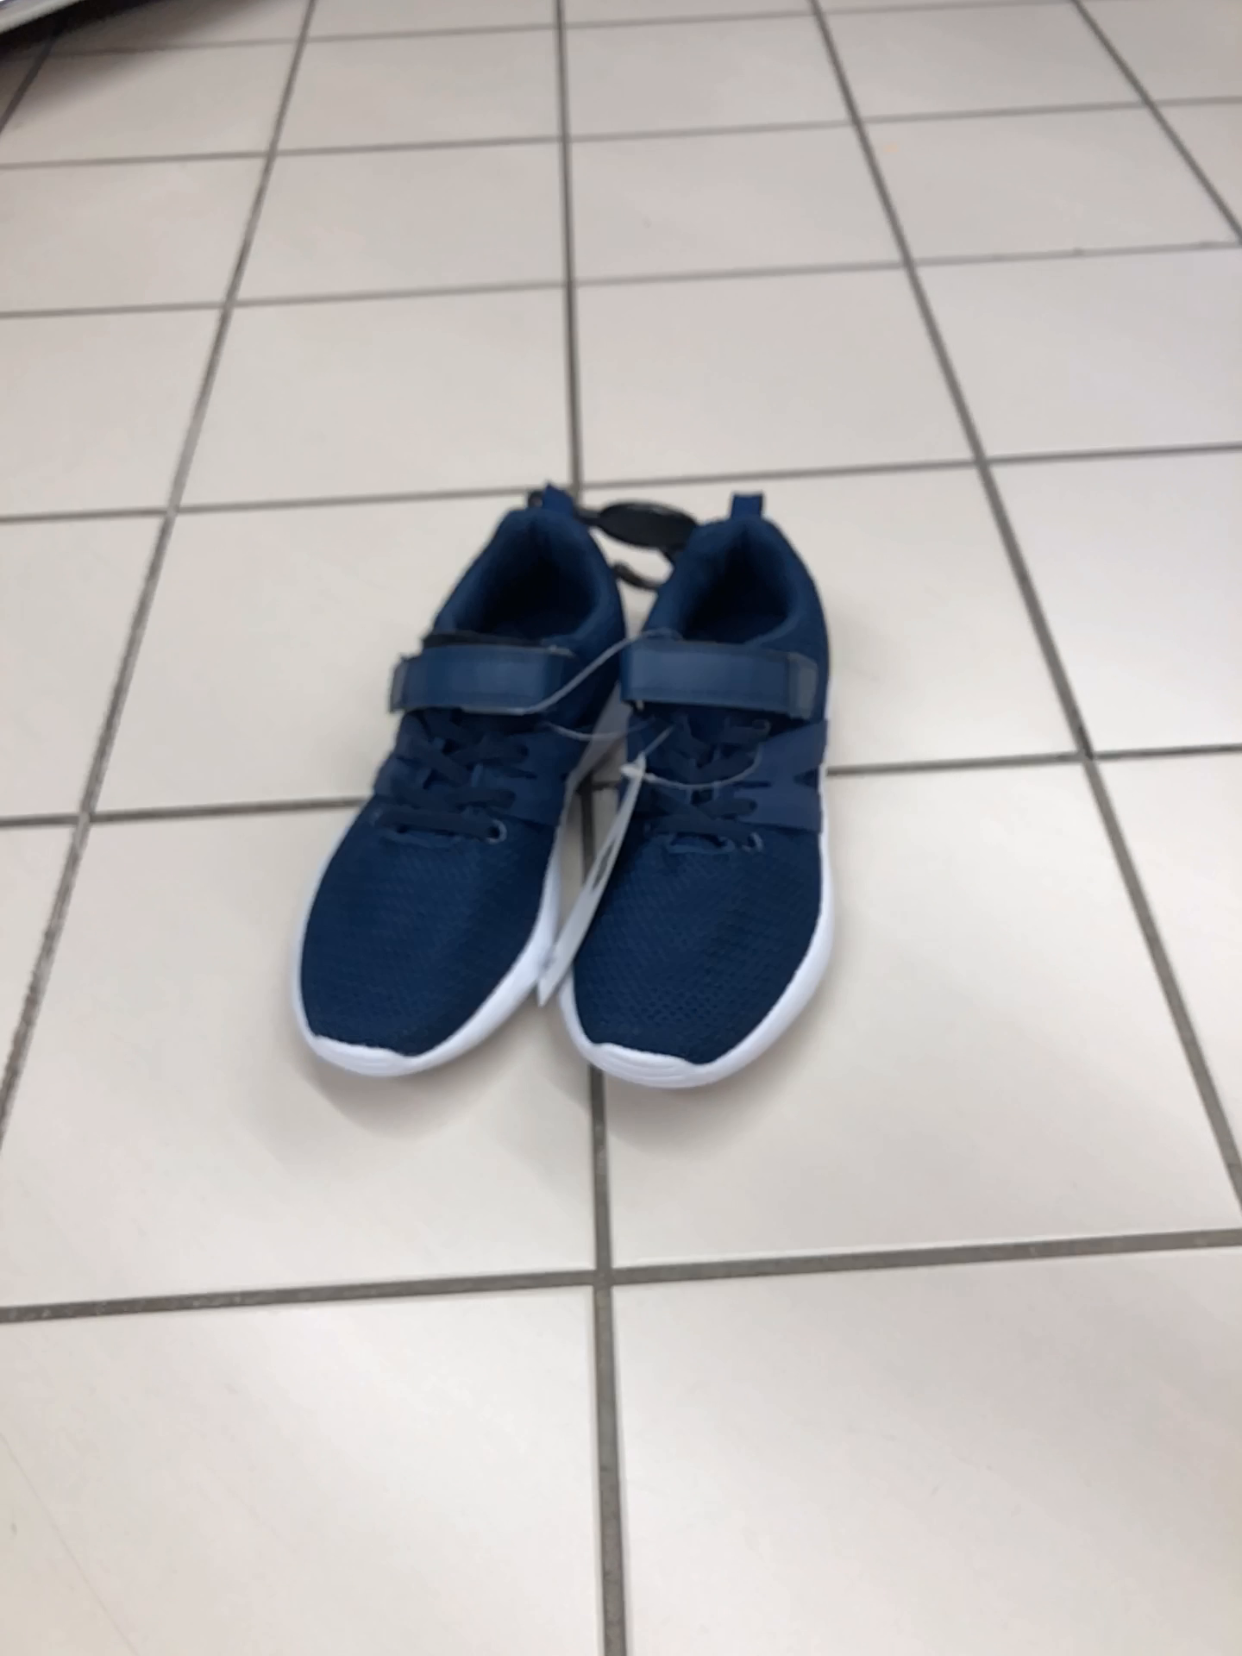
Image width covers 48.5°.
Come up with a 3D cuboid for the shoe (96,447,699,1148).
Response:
[{"bbox_3d":[-0.061,-0.024,0.500,0.102,0.094,0.237,16,51,16],"label":"shoe"}]

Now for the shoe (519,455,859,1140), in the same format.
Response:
[{"bbox_3d":[0.033,-0.023,0.494,0.093,0.095,0.239,4,49,6],"label":"shoe"}]
